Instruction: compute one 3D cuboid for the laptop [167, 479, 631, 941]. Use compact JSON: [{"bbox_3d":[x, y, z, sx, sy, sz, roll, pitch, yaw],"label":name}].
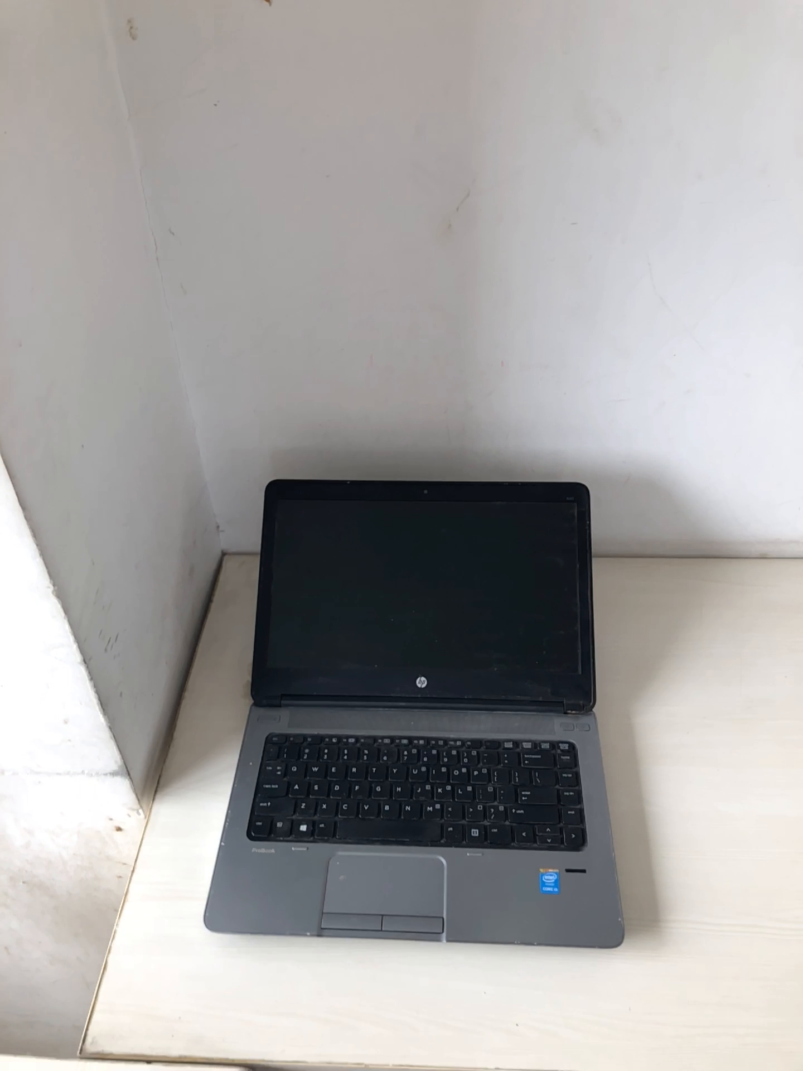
[{"bbox_3d":[0.010,0.132,0.819,0.327,0.137,0.407,2,41,2],"label":"laptop"}]
